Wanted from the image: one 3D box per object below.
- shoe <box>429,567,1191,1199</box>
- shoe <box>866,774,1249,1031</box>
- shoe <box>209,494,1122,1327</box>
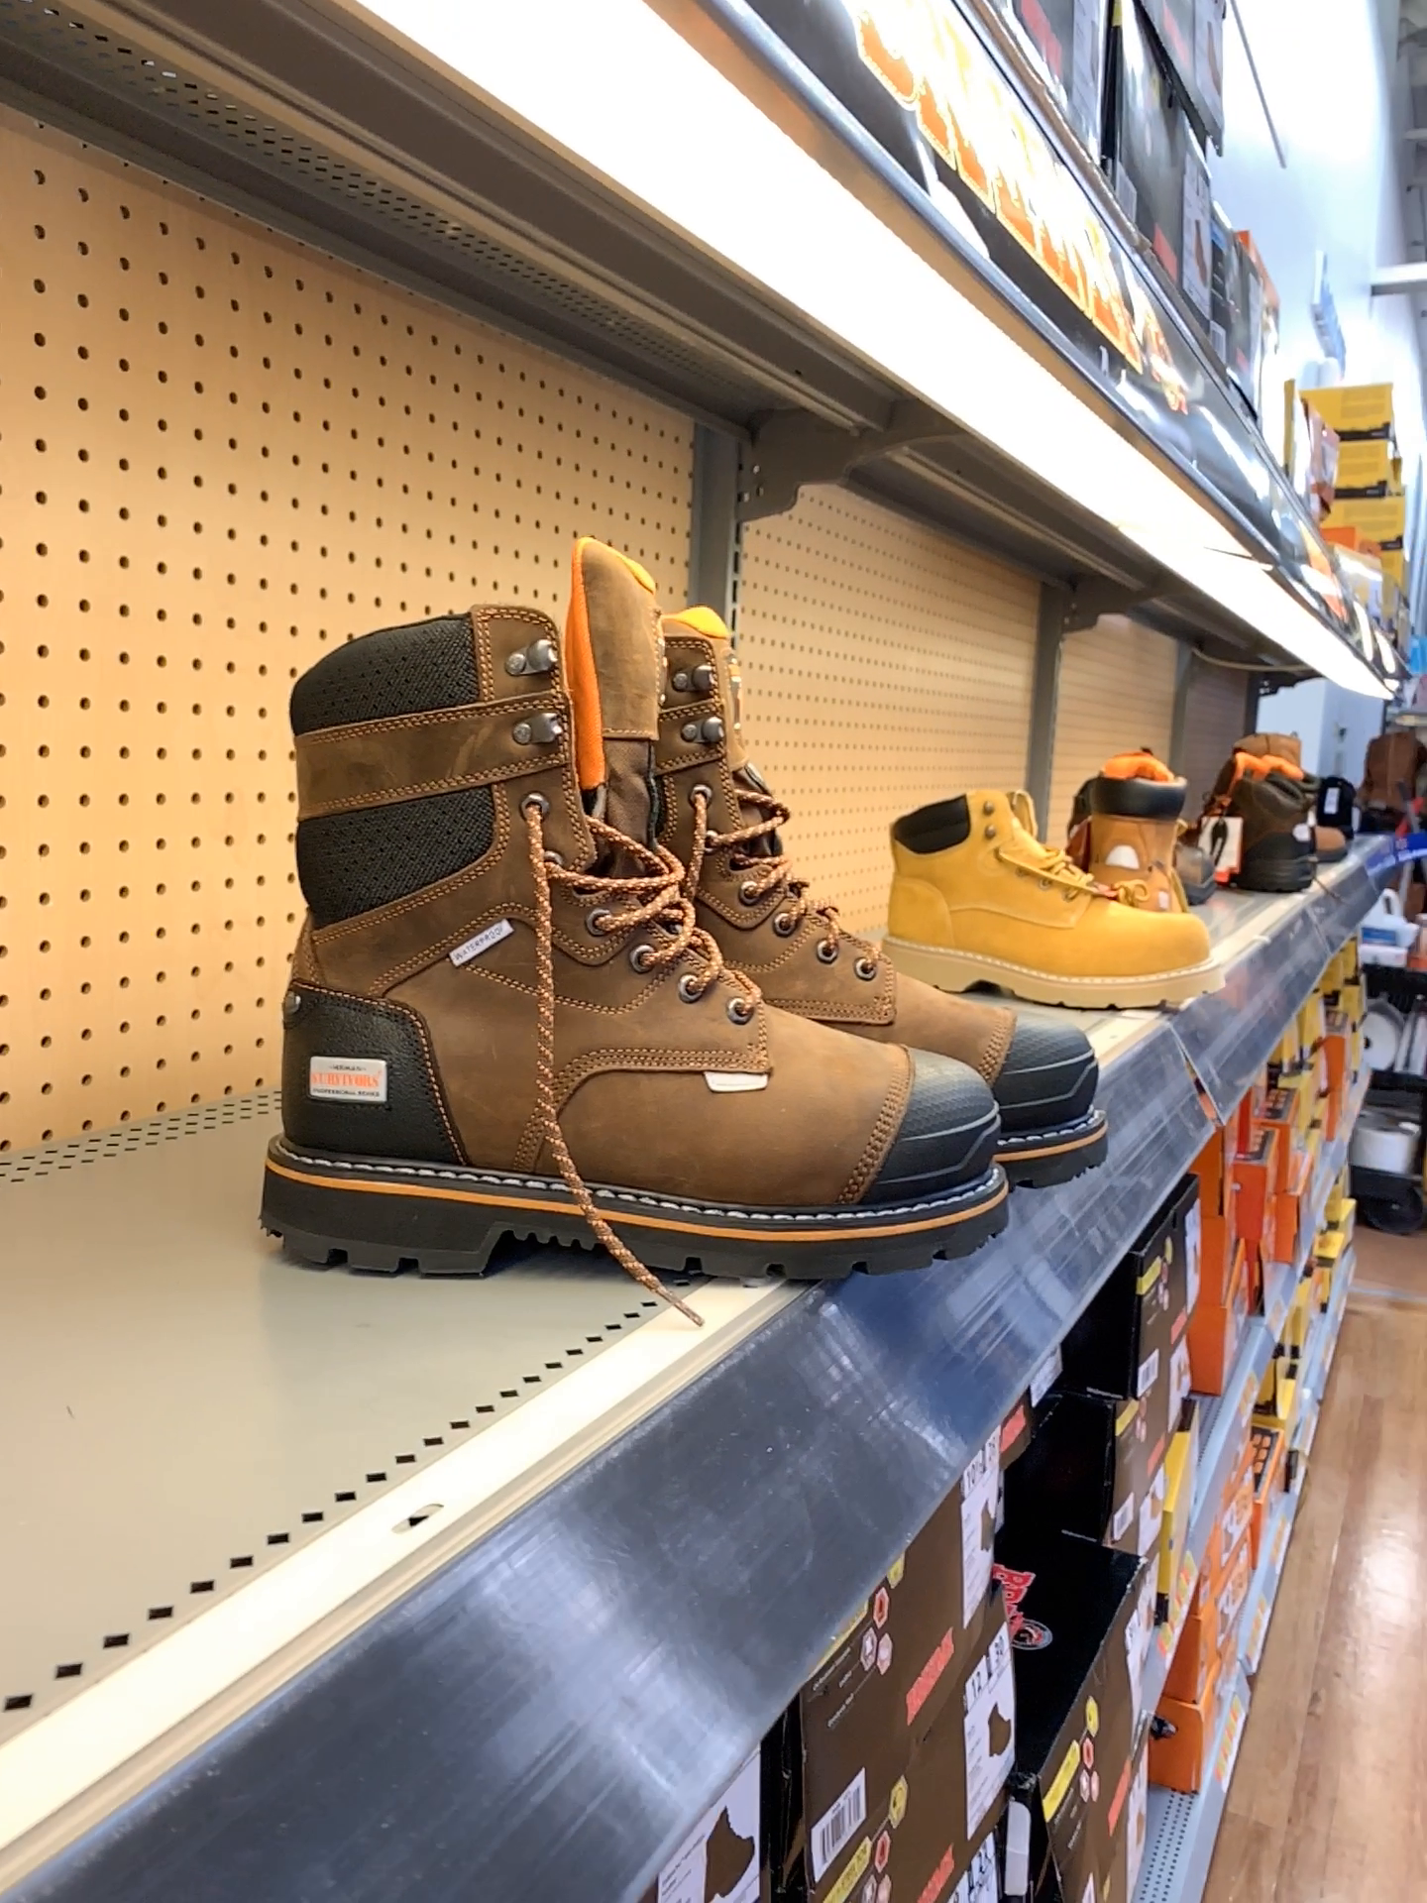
[{"bbox_3d":[0.039,-0.037,0.710,0.318,0.260,0.134,3,8,1],"label":"shoe"},{"bbox_3d":[0.289,-0.051,1.239,0.273,0.179,0.146,7,9,27],"label":"shoe"},{"bbox_3d":[-0.021,-0.021,0.590,0.313,0.280,0.136,4,8,3],"label":"shoe"}]
